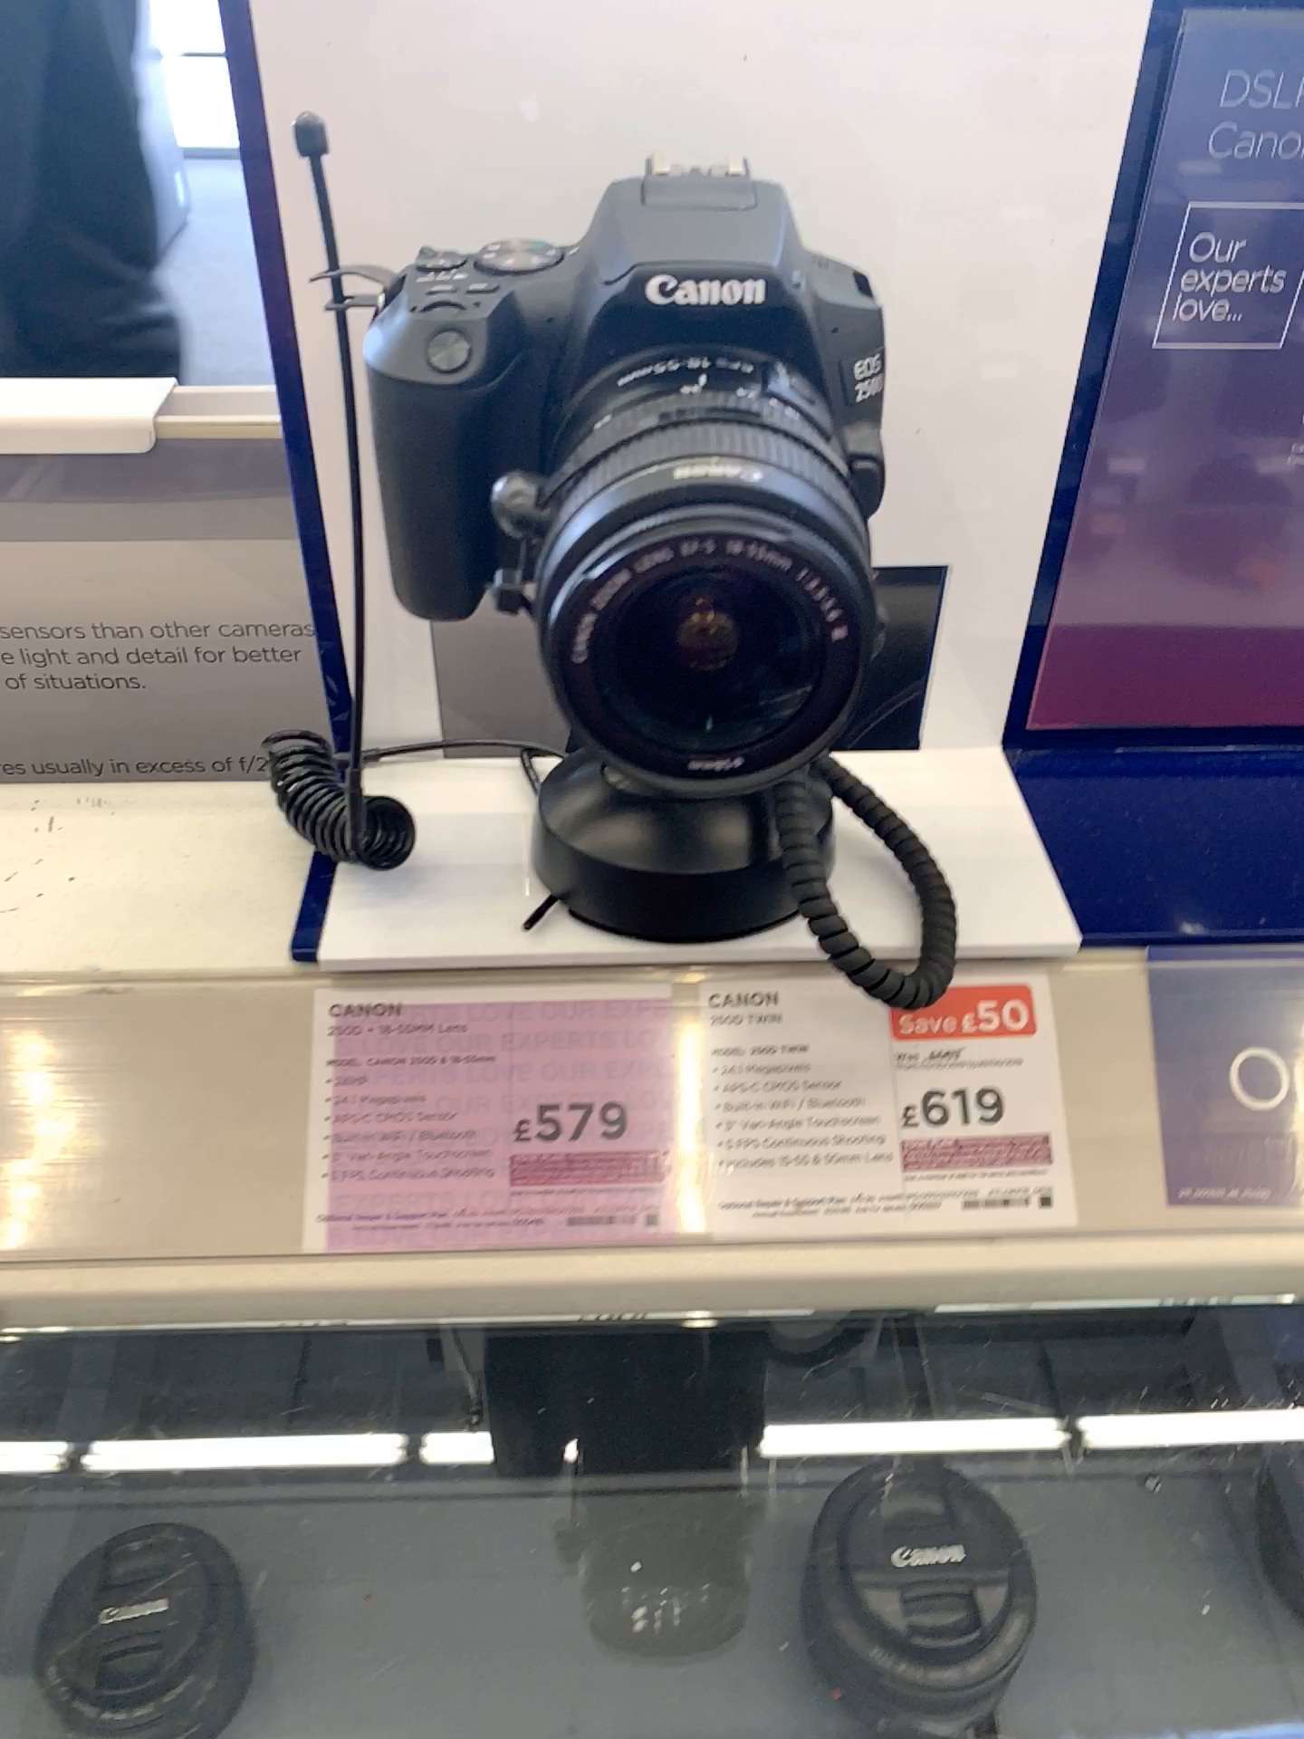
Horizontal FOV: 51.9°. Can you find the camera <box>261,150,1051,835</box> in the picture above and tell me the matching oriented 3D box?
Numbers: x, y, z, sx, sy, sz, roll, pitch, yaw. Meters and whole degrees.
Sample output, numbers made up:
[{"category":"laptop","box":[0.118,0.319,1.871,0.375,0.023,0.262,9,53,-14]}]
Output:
[{"category":"camera","box":[-0.004,-0.088,0.286,0.120,0.089,0.141,-2,39,-4]}]
